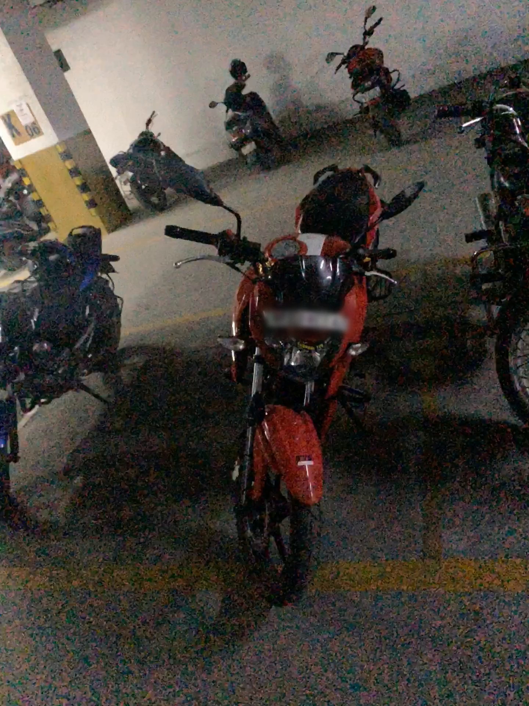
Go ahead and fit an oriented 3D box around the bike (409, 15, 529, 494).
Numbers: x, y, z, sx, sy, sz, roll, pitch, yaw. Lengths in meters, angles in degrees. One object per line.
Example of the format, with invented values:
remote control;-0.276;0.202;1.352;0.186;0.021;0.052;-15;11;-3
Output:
bike;1.004;-0.473;1.916;0.674;0.933;1.573;-12;32;19

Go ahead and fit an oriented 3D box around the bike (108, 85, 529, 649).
bike;0.298;-0.108;1.968;0.802;1.006;1.701;-12;34;19
